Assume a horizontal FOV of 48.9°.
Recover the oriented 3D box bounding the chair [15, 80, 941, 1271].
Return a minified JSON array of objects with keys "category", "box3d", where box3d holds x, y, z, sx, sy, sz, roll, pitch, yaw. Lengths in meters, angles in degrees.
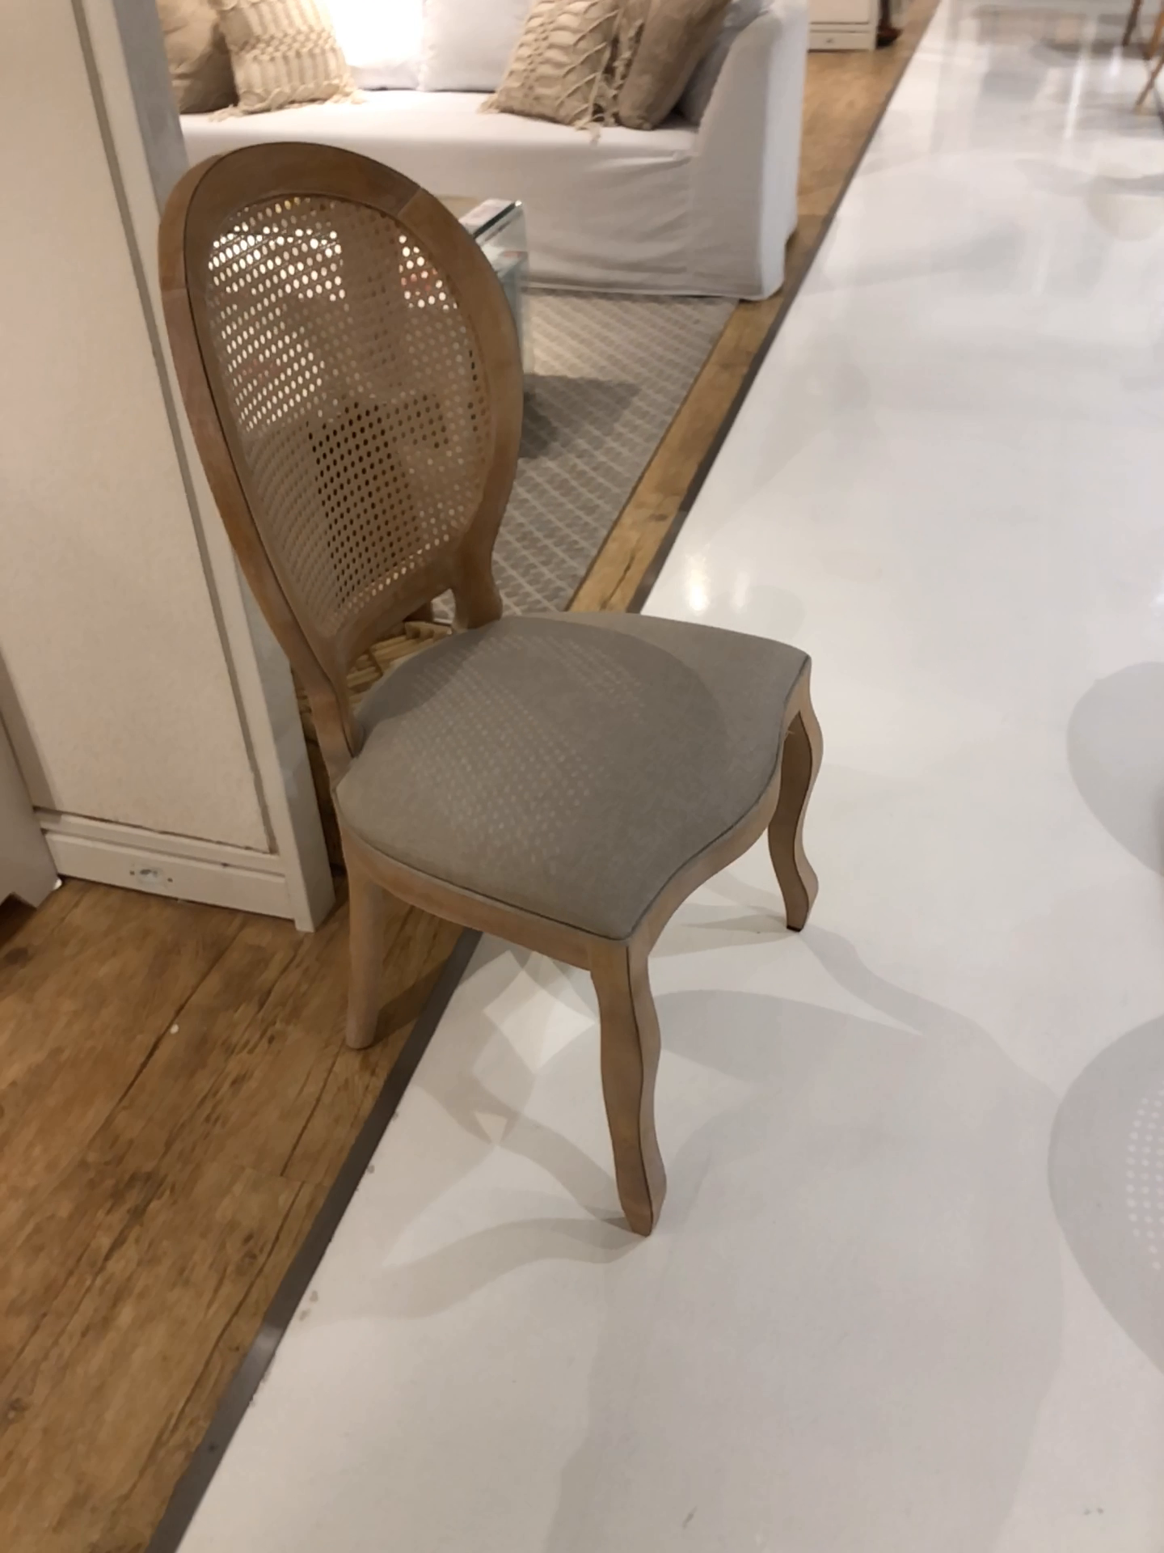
[{"category":"chair","box3d":[-0.024,-0.111,1.315,0.521,0.962,0.594,15,40,21]}]
